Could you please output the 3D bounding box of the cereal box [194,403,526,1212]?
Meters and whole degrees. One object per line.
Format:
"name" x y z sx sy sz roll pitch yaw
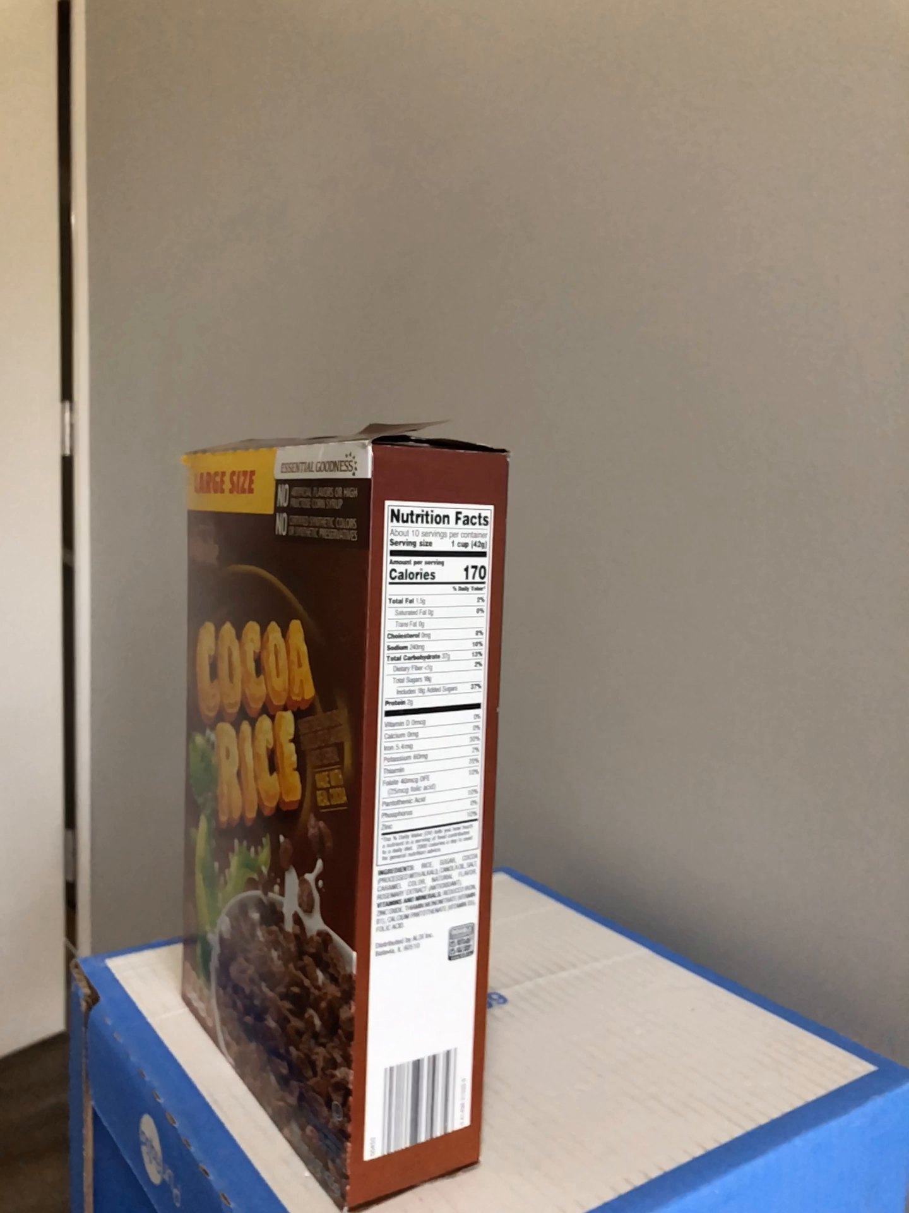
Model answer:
"cereal box" -0.056 0.066 0.454 0.060 0.290 0.200 -1 5 -32
